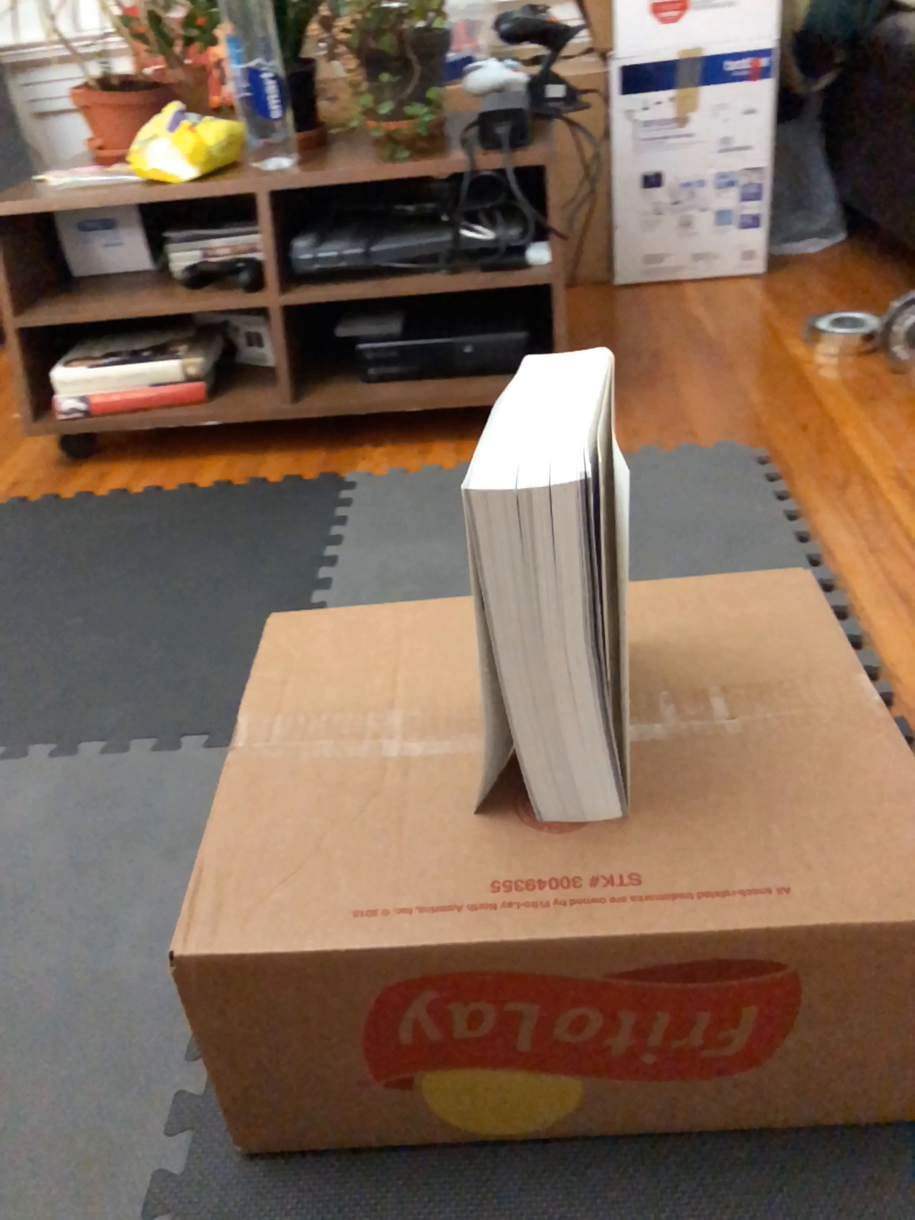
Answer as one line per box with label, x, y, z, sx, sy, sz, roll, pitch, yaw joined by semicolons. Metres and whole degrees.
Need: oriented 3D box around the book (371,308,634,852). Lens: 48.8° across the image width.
book;0.045;-0.023;0.619;0.090;0.259;0.201;2;34;17
